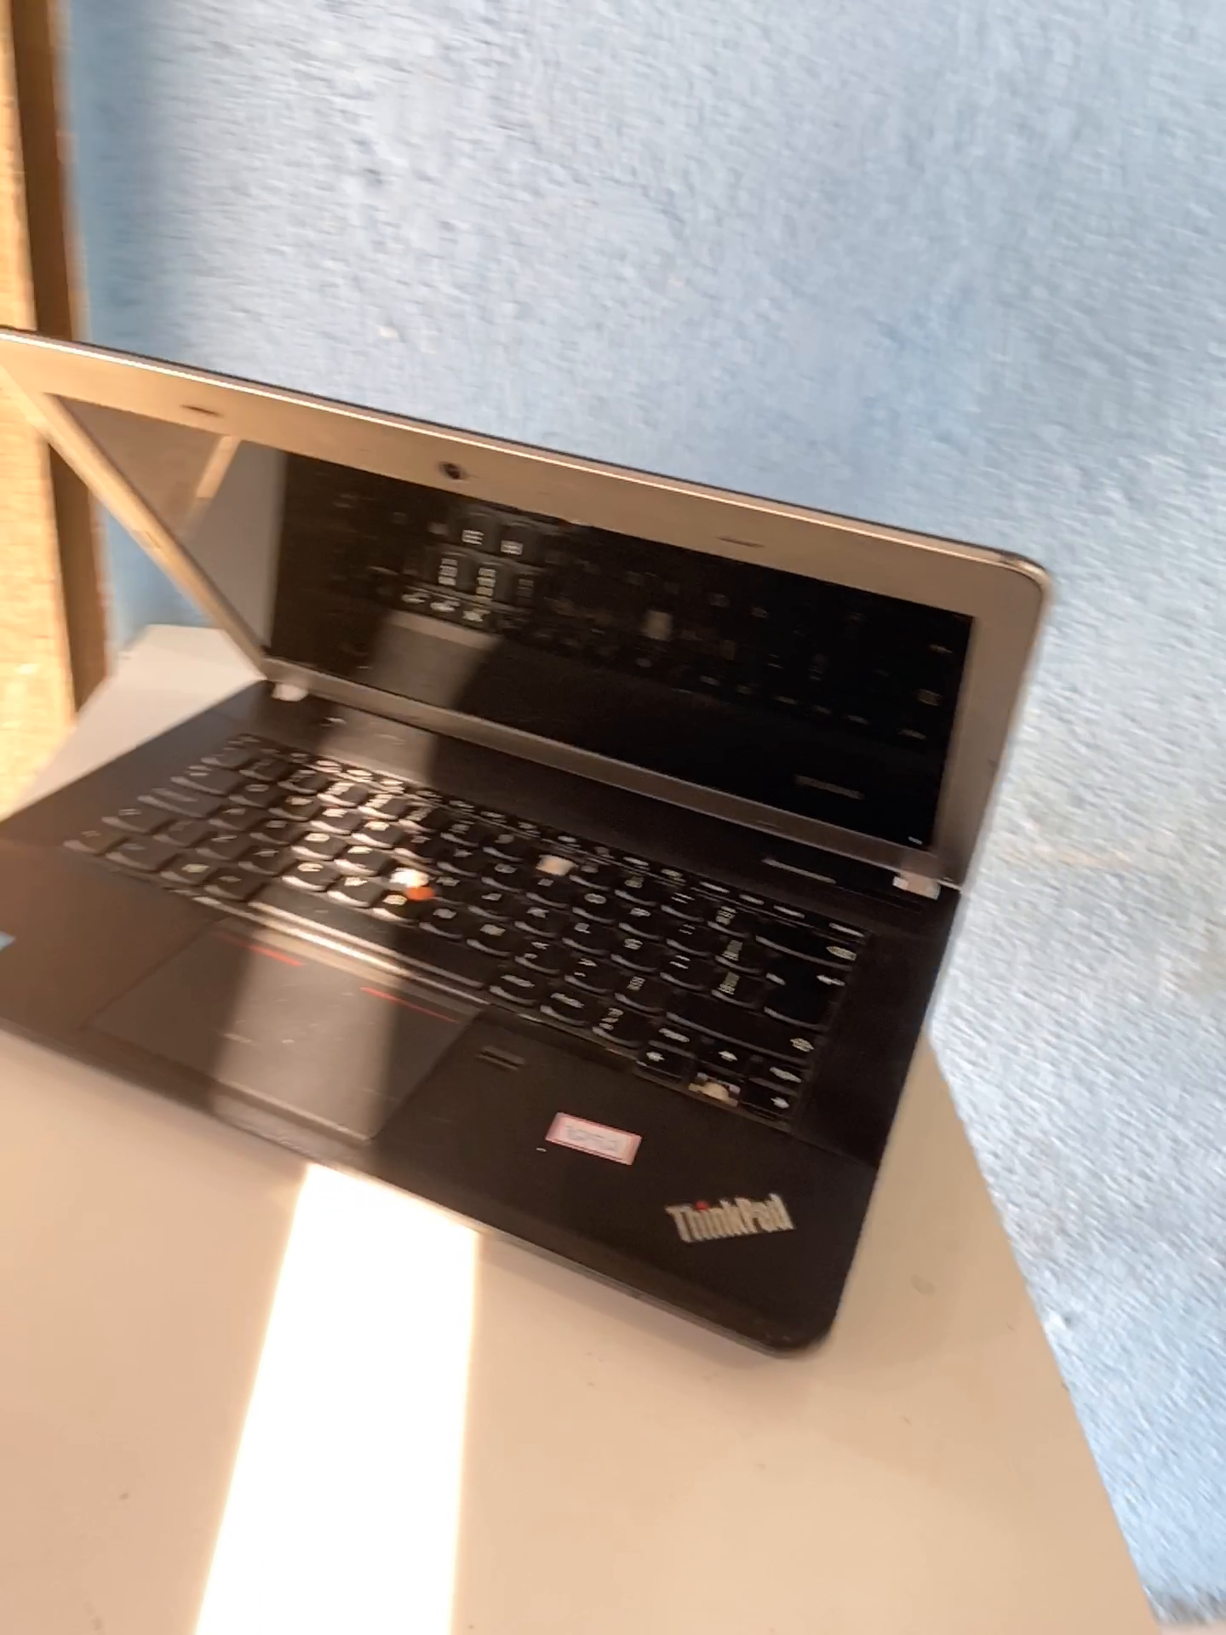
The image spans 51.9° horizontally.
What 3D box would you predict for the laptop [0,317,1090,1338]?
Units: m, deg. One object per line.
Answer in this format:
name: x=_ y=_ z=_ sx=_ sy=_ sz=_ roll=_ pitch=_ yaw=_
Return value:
laptop: x=-0.048 y=-0.039 z=0.411 sx=0.330 sy=0.165 sz=0.232 roll=16 pitch=30 yaw=17
